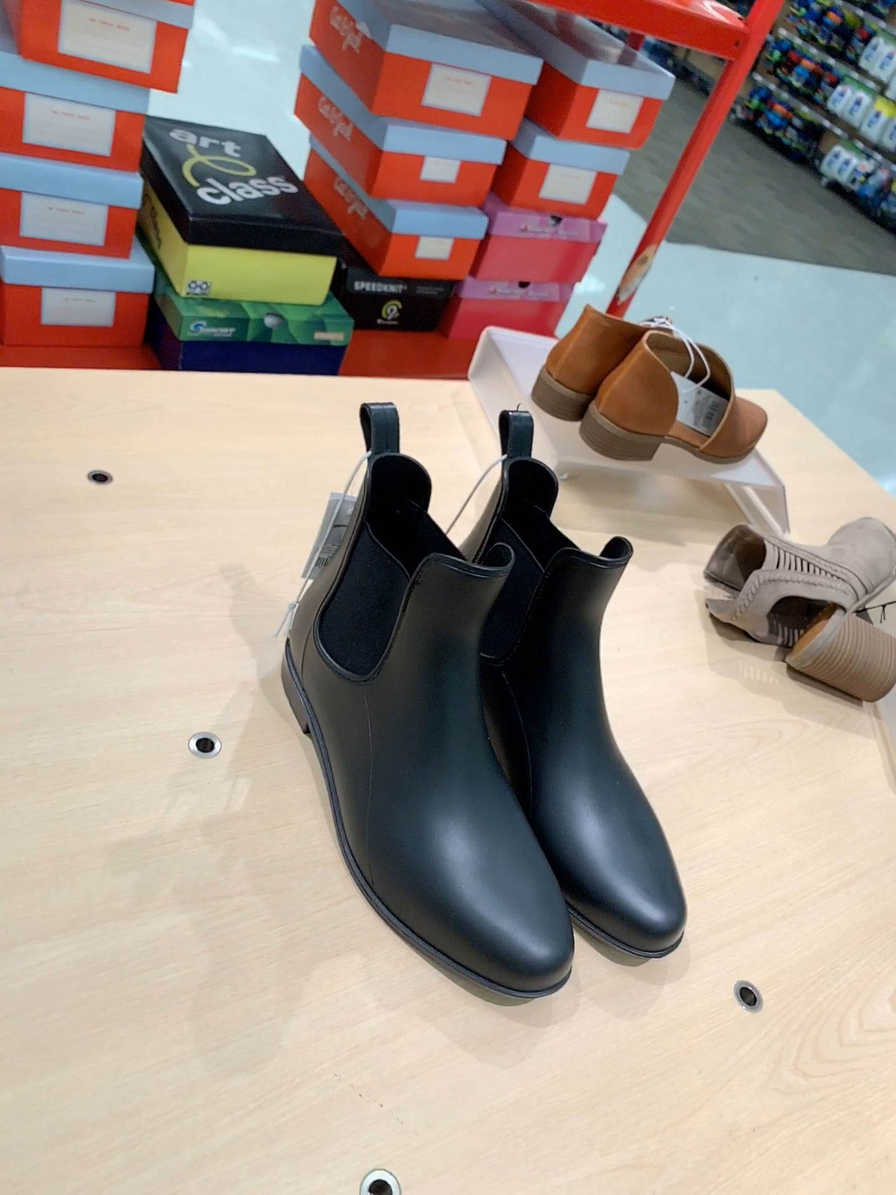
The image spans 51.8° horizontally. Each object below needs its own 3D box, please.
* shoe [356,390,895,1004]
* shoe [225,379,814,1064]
[{"bbox_3d":[0.080,0.046,0.546,0.100,0.199,0.286,-11,51,-36],"label":"shoe"},{"bbox_3d":[0.006,0.051,0.498,0.113,0.201,0.286,-11,51,-36],"label":"shoe"}]
